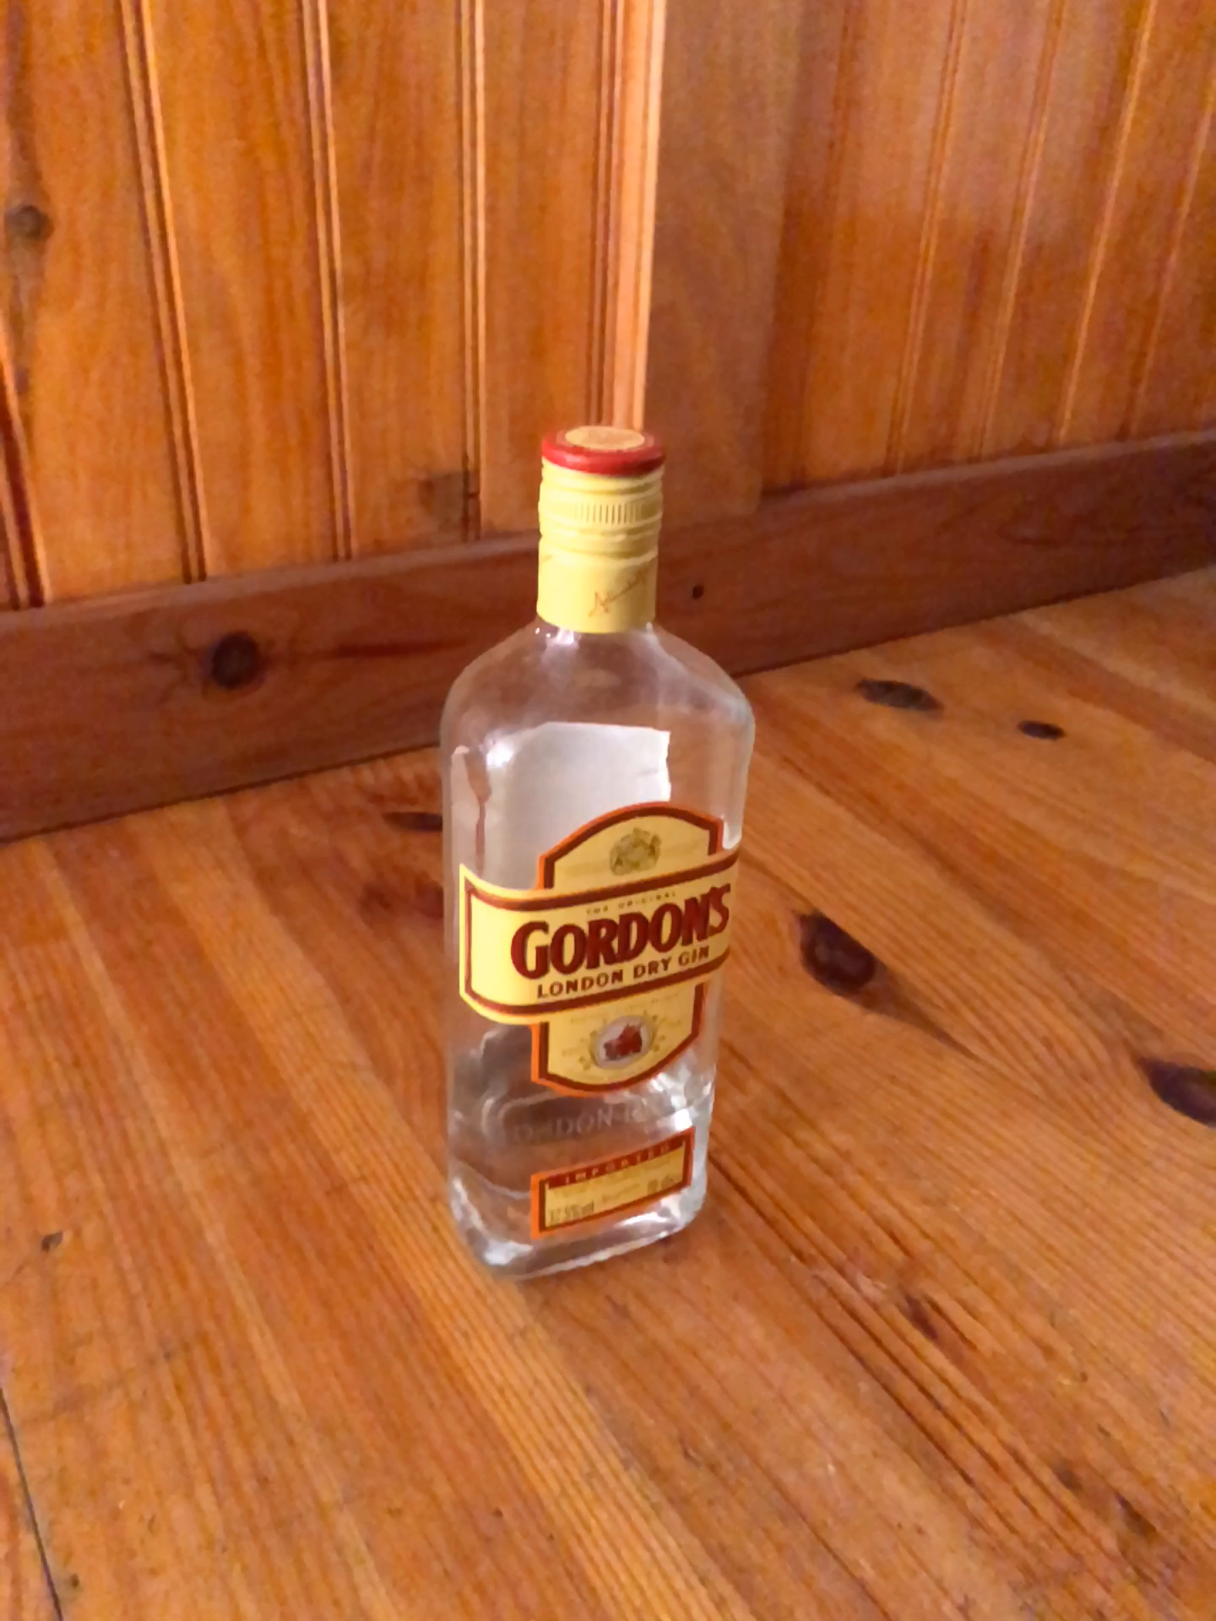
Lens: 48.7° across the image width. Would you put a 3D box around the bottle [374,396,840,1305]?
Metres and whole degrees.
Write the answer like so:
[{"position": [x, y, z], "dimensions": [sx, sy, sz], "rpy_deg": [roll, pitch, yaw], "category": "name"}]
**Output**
[{"position": [-0.007, 0.018, 0.367], "dimensions": [0.090, 0.239, 0.060], "rpy_deg": [-10, 33, -21], "category": "bottle"}]
